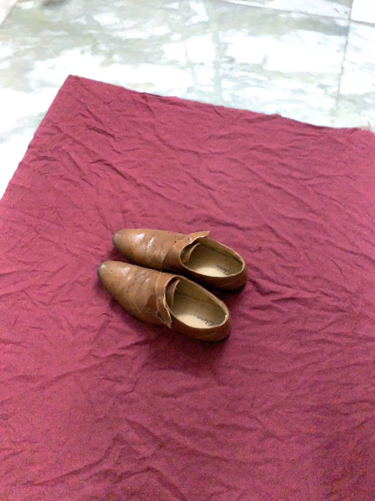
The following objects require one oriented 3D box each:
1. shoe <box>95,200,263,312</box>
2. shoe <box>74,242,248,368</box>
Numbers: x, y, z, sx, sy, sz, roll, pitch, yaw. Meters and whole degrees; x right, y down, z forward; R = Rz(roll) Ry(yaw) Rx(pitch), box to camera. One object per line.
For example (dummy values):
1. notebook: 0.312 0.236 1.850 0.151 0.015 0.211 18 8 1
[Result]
1. shoe: -0.017 0.009 0.765 0.300 0.090 0.100 20 67 12
2. shoe: -0.051 0.103 0.749 0.310 0.090 0.100 23 68 13
